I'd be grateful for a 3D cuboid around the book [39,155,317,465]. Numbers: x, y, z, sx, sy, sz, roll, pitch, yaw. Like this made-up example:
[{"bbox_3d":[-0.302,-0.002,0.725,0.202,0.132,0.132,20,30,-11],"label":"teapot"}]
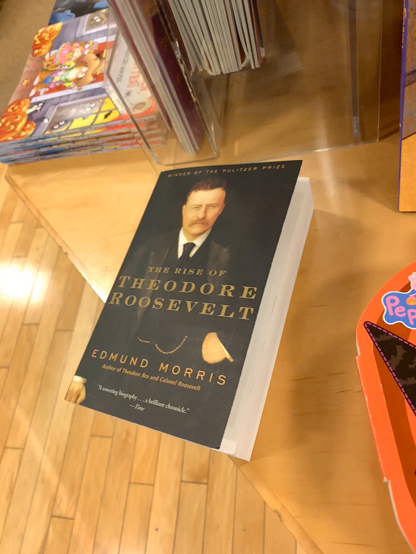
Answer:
[{"bbox_3d":[-0.011,0.012,0.313,0.130,0.066,0.195,9,67,25],"label":"book"}]
